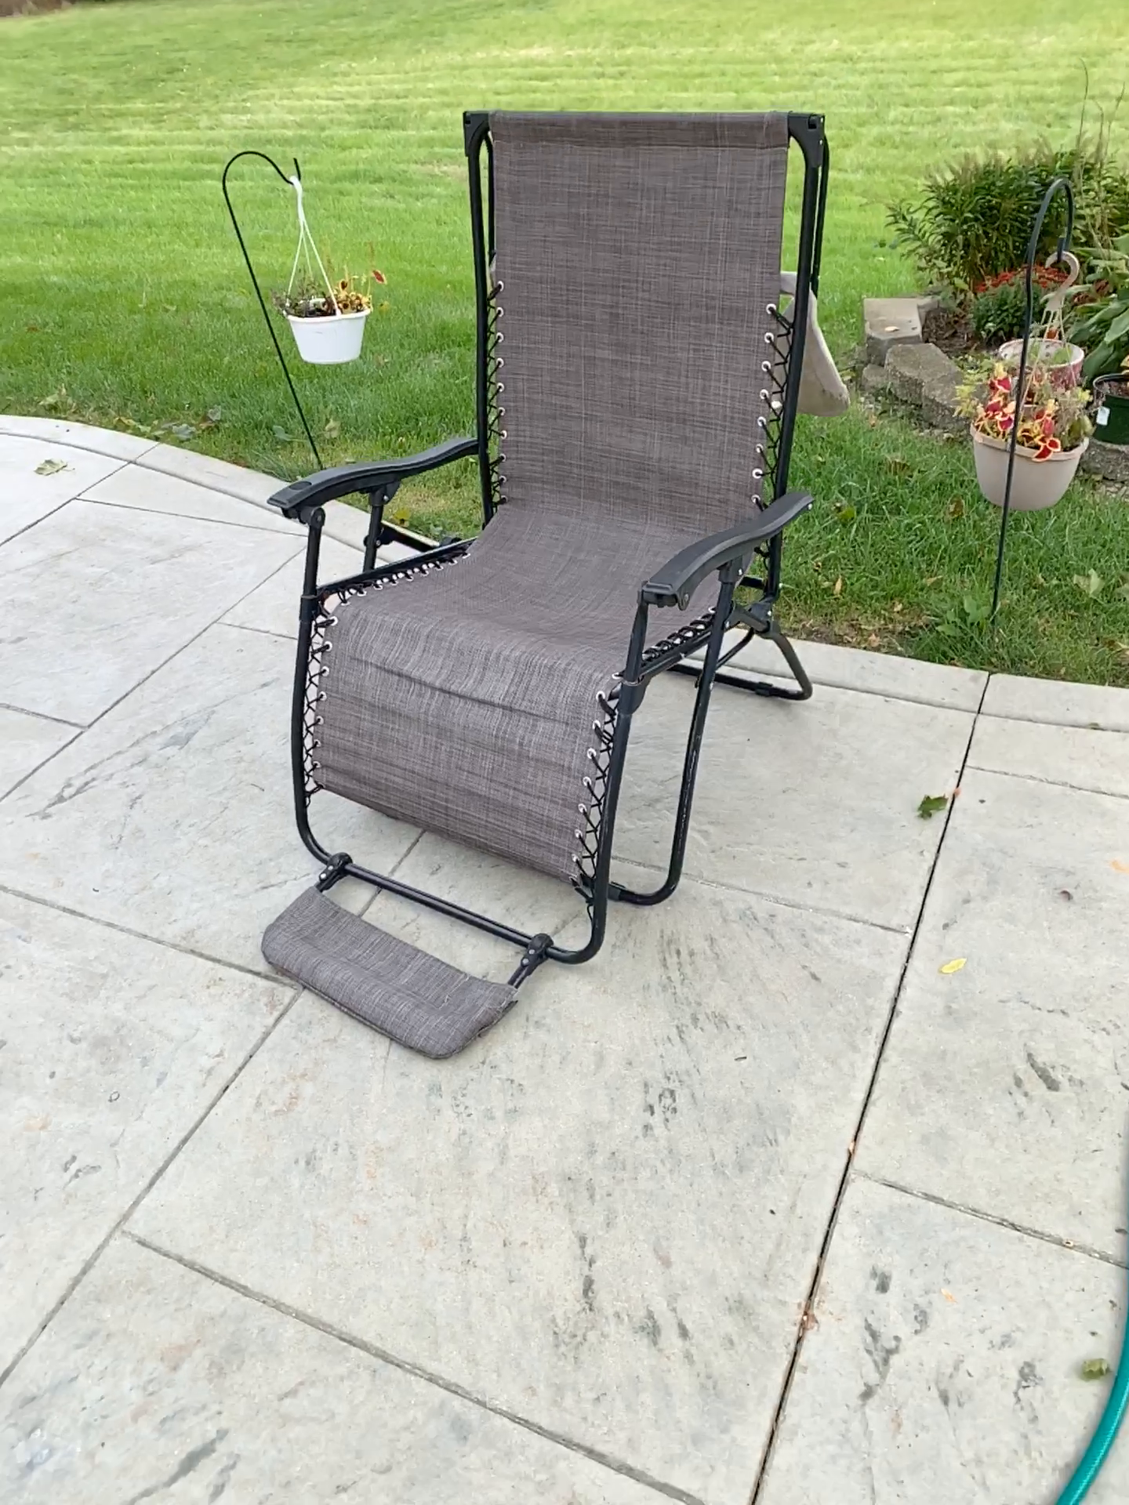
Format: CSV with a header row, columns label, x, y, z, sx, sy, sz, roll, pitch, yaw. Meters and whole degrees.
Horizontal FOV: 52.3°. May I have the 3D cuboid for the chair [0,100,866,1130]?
label,x,y,z,sx,sy,sz,roll,pitch,yaw
chair,-0.123,-0.314,1.819,0.743,1.055,1.152,18,44,28
